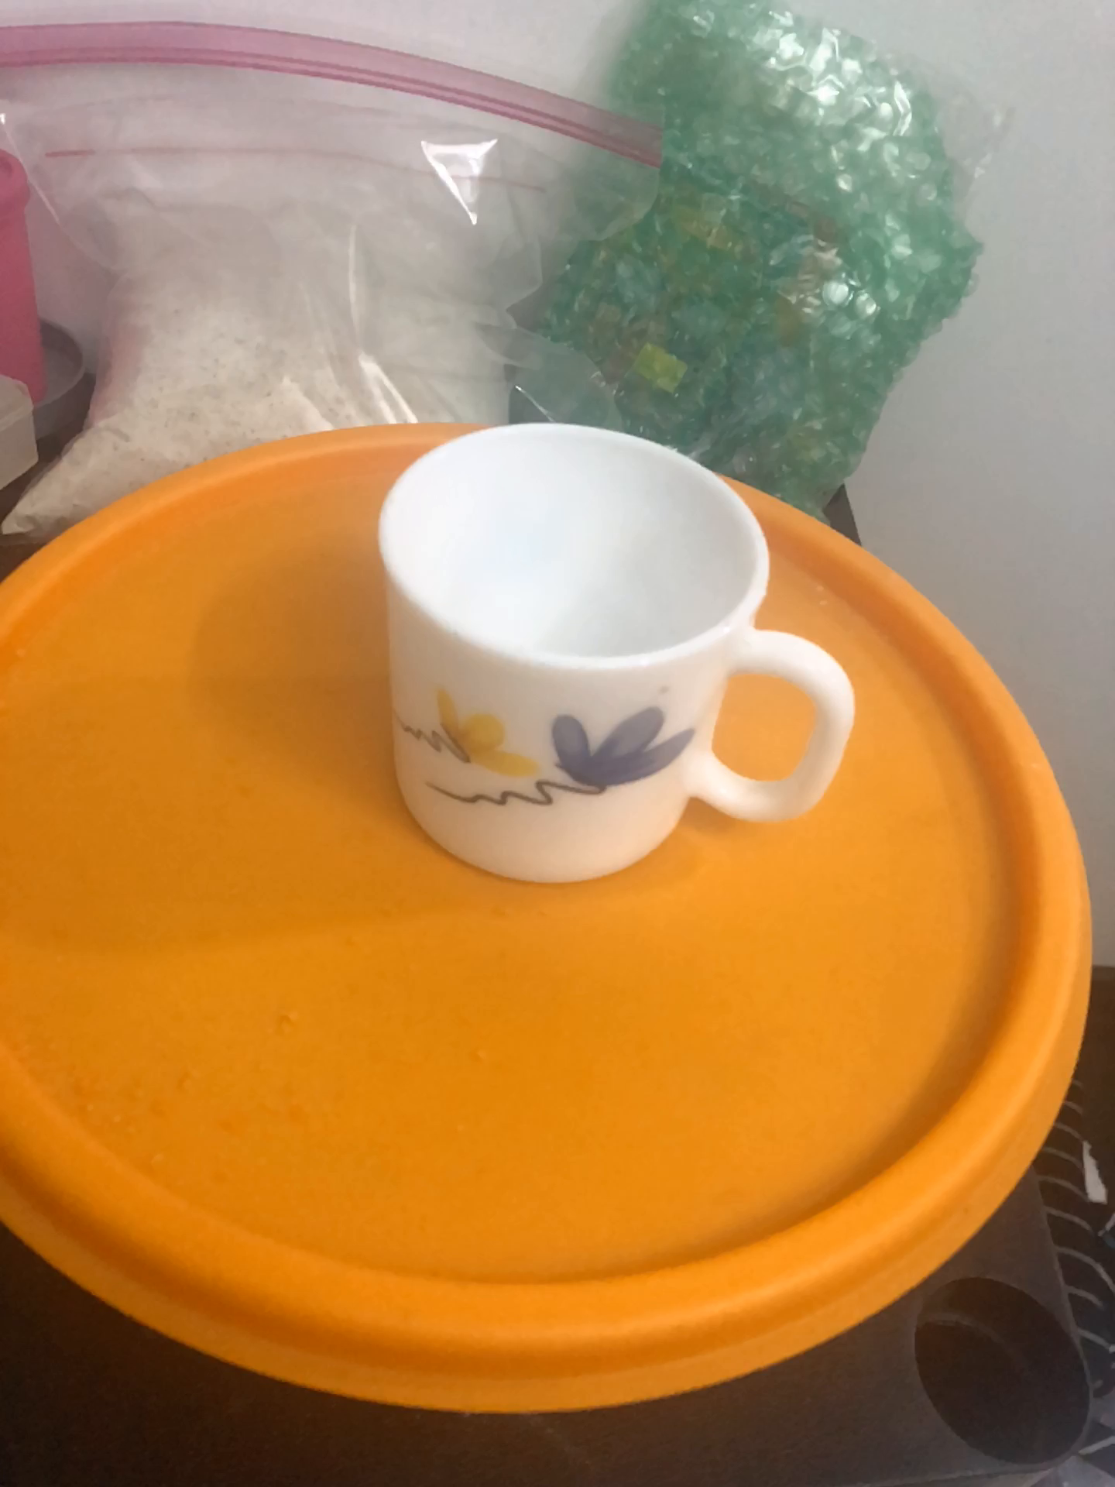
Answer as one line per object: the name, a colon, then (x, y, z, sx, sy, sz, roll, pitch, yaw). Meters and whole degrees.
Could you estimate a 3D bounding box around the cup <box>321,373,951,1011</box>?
cup: (0.015, -0.013, 0.254, 0.100, 0.070, 0.080, 18, 47, 8)
